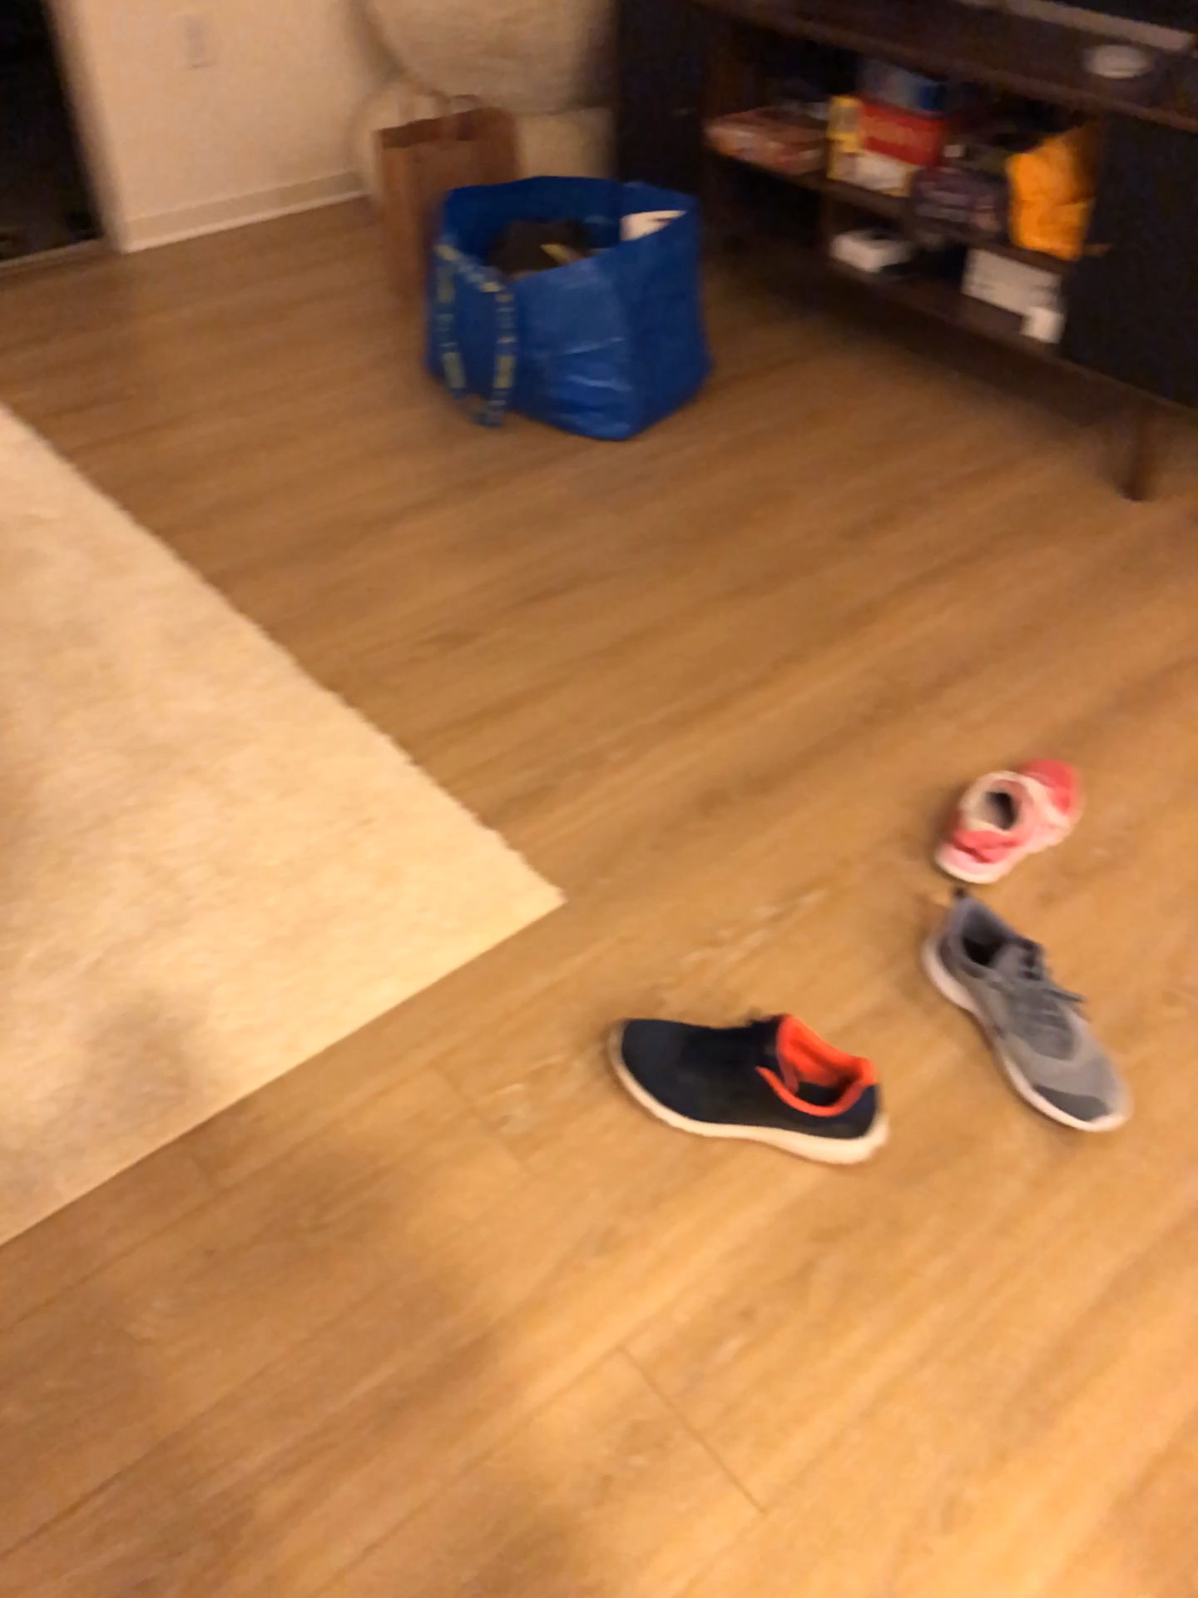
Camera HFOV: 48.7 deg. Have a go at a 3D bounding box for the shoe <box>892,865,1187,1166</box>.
[{"bbox_3d":[0.472,0.229,1.461,0.130,0.109,0.307,-16,44,-19],"label":"shoe"}]

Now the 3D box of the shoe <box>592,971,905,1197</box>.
[{"bbox_3d":[0.155,0.296,1.396,0.300,0.100,0.131,12,43,12],"label":"shoe"}]

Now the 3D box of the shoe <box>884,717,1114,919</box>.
[{"bbox_3d":[0.521,0.018,1.723,0.281,0.090,0.140,-31,50,-31],"label":"shoe"}]
